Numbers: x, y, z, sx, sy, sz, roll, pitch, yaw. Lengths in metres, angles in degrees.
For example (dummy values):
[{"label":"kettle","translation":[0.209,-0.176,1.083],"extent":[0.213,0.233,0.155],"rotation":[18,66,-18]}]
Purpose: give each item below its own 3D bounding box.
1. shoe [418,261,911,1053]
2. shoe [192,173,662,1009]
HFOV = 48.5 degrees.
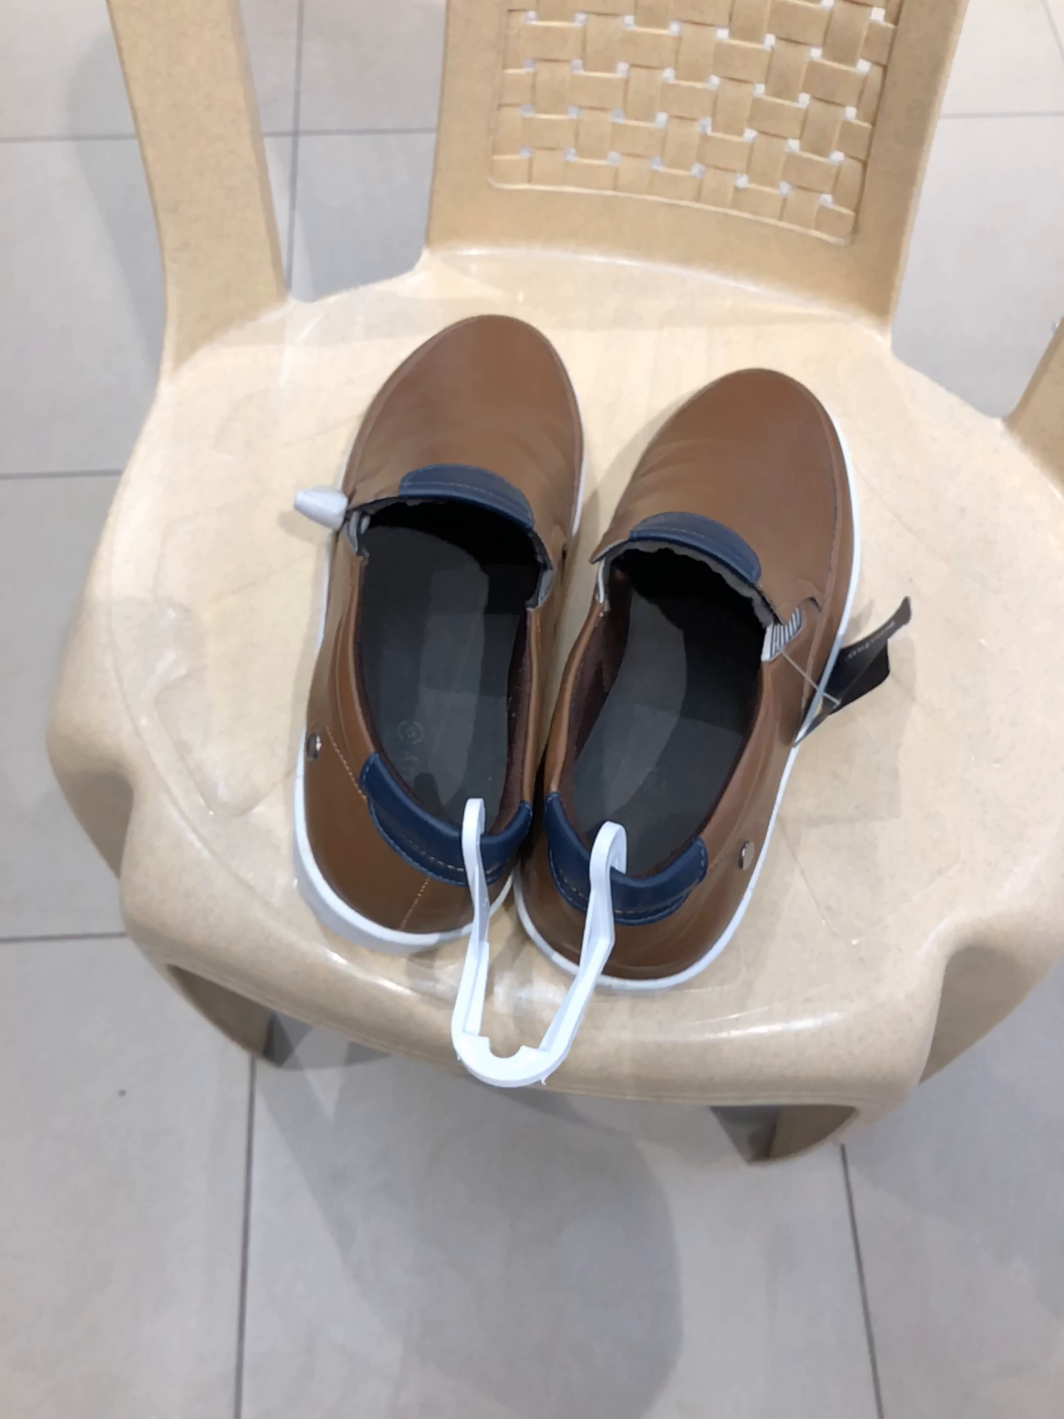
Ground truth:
[{"label":"shoe","translation":[0.060,-0.030,0.443],"extent":[0.104,0.099,0.272],"rotation":[12,63,13]},{"label":"shoe","translation":[-0.030,-0.045,0.430],"extent":[0.104,0.099,0.272],"rotation":[18,60,-20]}]
